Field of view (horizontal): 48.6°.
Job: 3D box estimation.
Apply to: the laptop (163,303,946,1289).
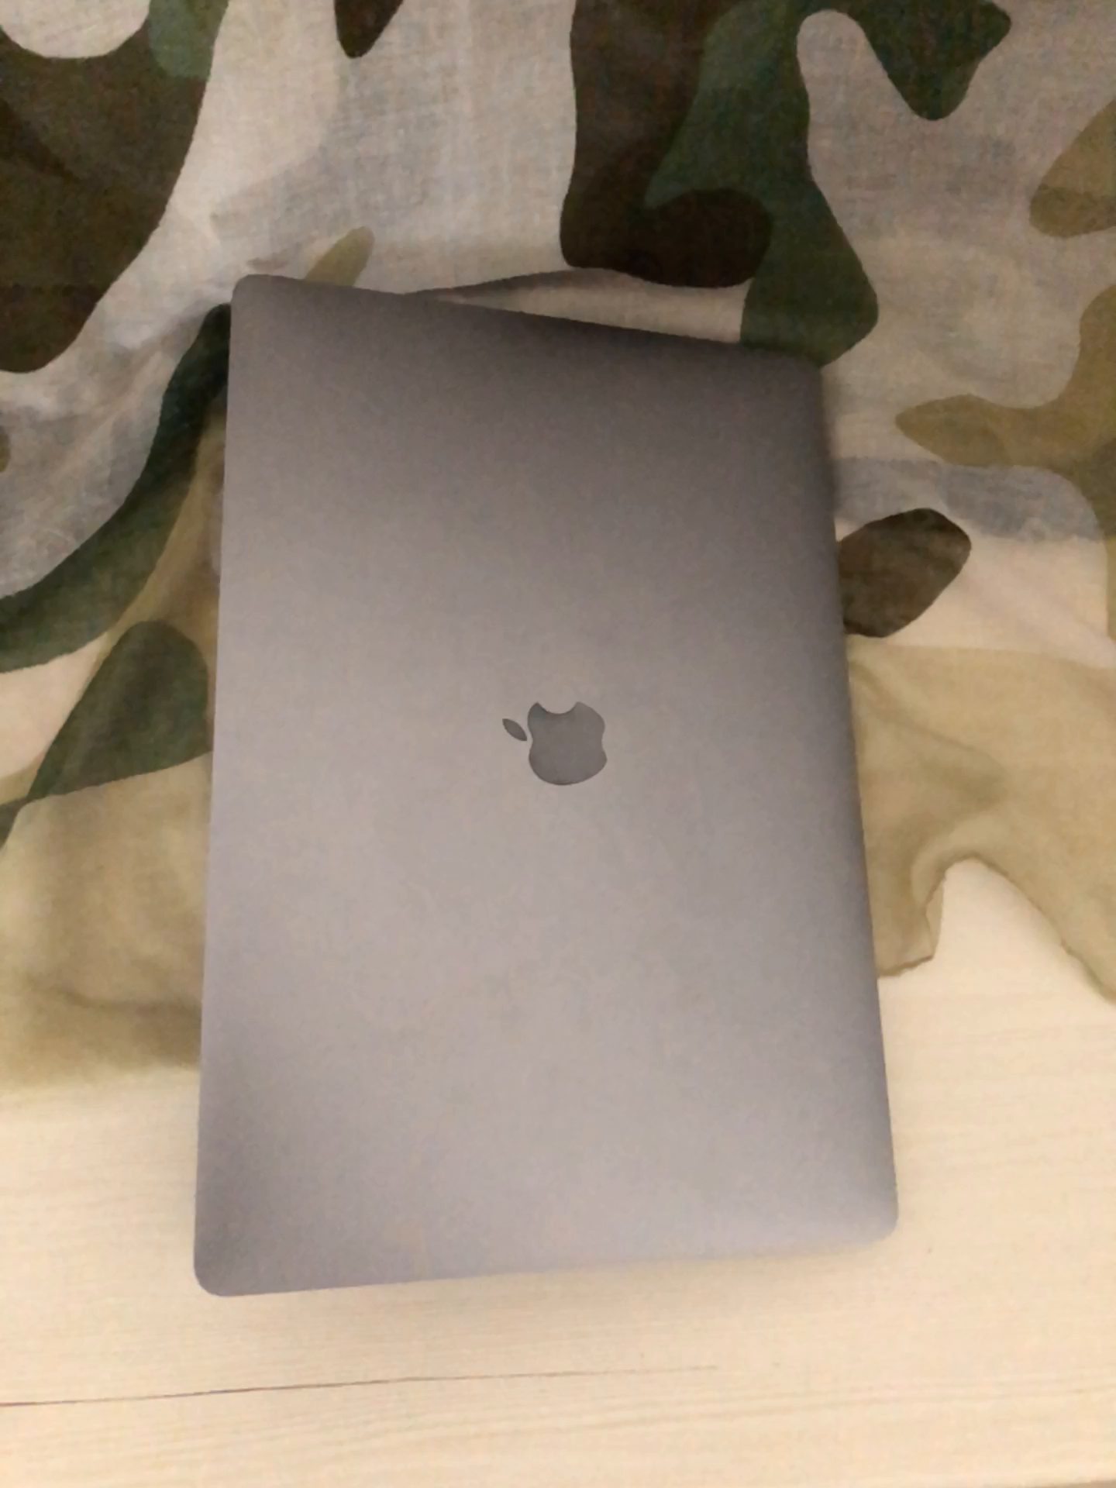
[{"bbox_3d":[-0.003,0.005,0.447,0.236,0.059,0.339,0,74,-3],"label":"laptop"}]
